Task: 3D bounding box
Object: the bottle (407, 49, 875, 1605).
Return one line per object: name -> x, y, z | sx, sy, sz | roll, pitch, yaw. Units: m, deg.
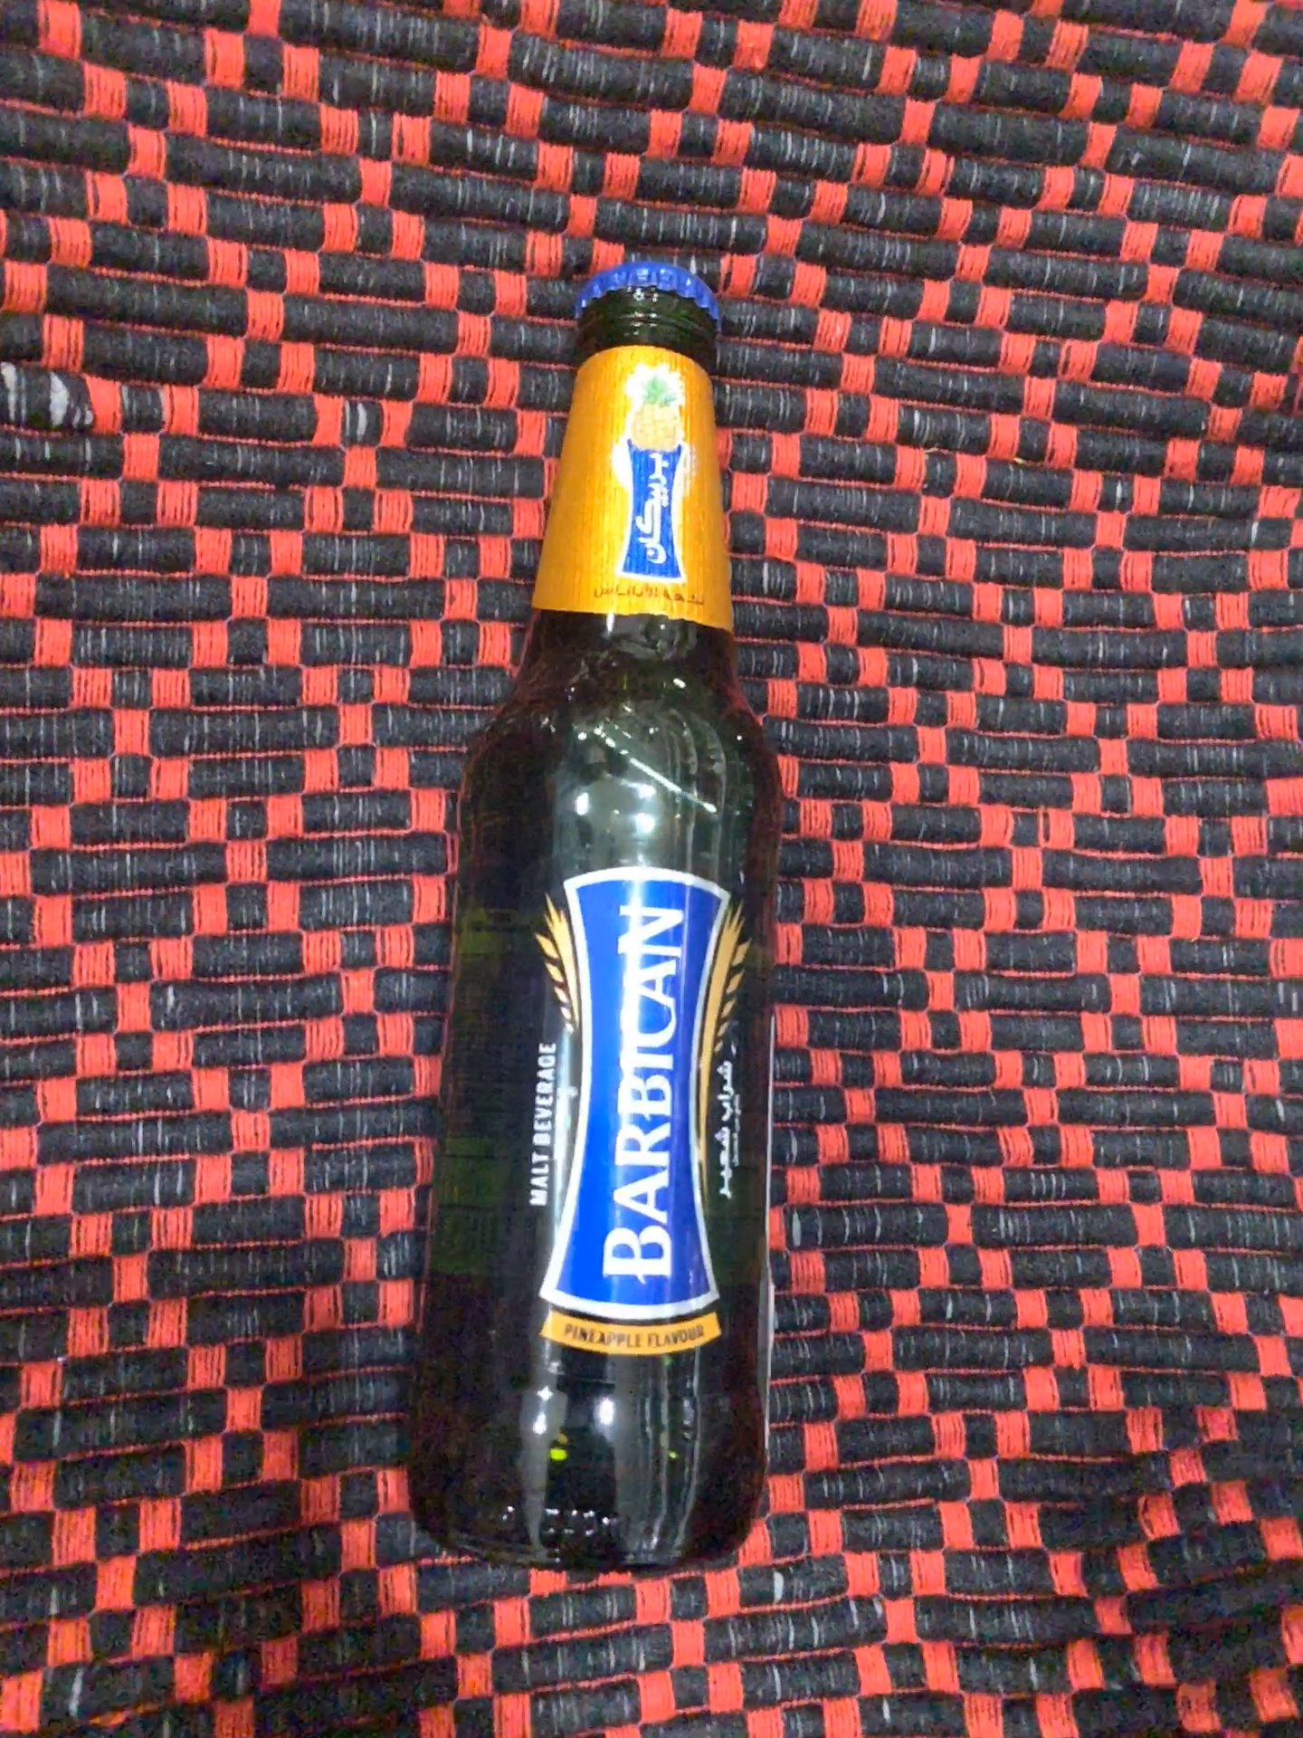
bottle -> -0.004, -0.014, 0.246 | 0.060, 0.070, 0.250 | 5, 75, -13
